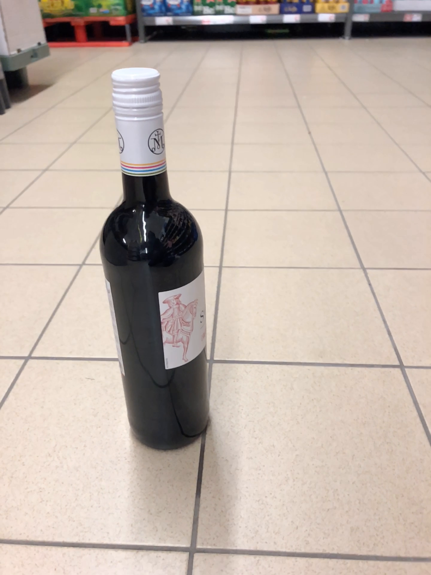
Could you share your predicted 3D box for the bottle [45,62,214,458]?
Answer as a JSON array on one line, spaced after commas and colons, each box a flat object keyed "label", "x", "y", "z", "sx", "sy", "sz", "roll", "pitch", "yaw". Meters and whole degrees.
[{"label": "bottle", "x": -0.045, "y": -0.005, "z": 0.359, "sx": 0.080, "sy": 0.288, "sz": 0.091, "roll": 0, "pitch": 32, "yaw": 1}]
